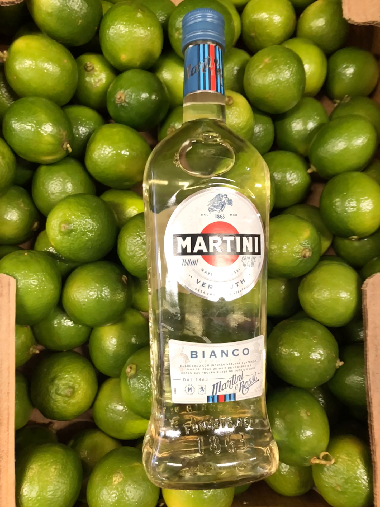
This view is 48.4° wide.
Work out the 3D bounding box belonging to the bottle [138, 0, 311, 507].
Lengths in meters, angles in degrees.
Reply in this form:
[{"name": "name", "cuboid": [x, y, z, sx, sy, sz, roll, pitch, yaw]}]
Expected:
[{"name": "bottle", "cuboid": [0.016, -0.013, 0.288, 0.100, 0.050, 0.320, 0, 83, -10]}]
